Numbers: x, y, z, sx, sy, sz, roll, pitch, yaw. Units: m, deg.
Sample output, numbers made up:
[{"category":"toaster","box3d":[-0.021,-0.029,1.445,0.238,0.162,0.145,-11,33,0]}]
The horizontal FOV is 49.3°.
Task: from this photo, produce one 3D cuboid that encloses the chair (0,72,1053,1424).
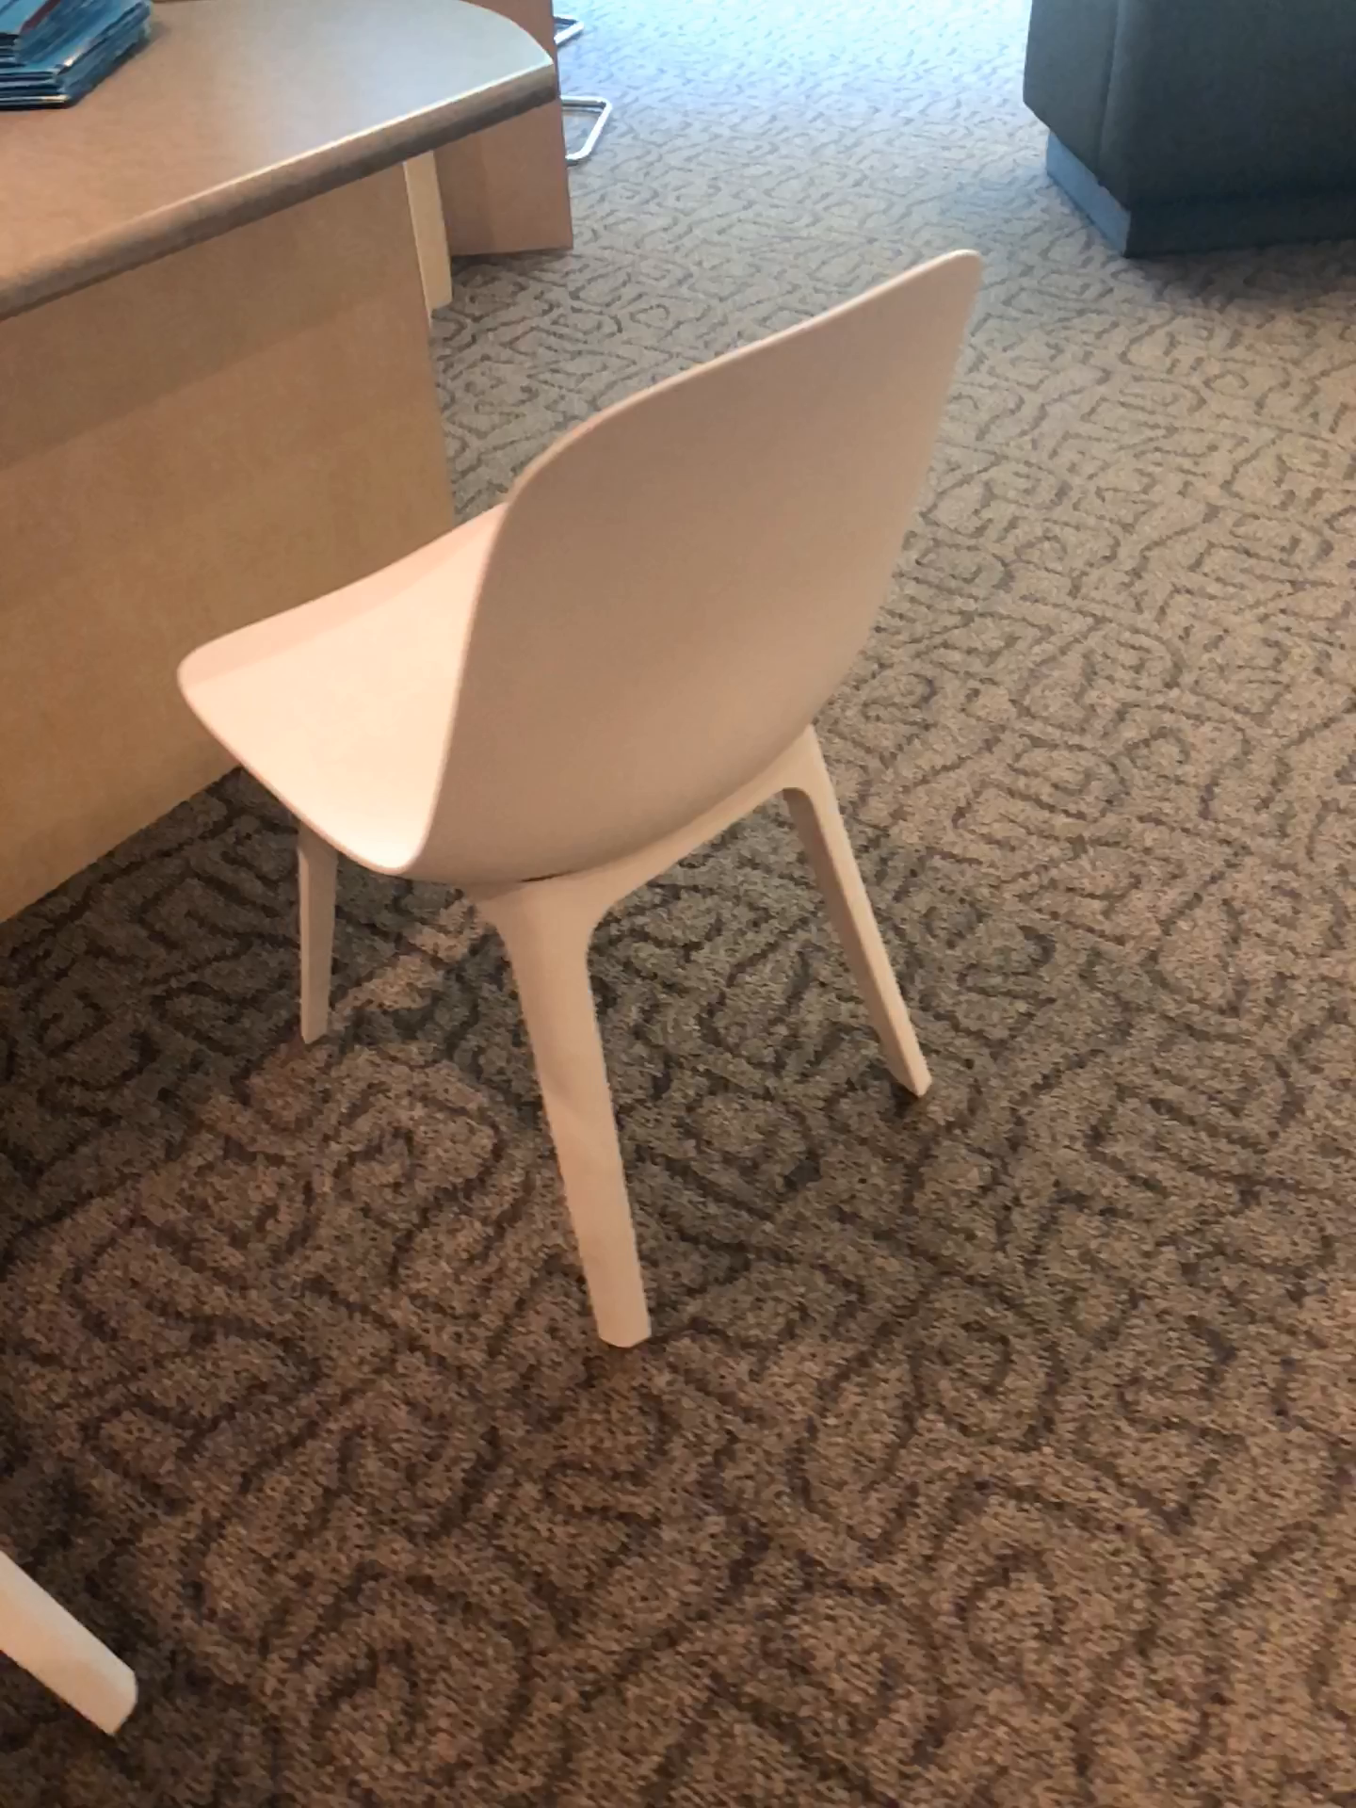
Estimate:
[{"category":"chair","box3d":[-0.124,-0.123,1.184,0.481,0.794,0.552,-34,51,-29]}]
